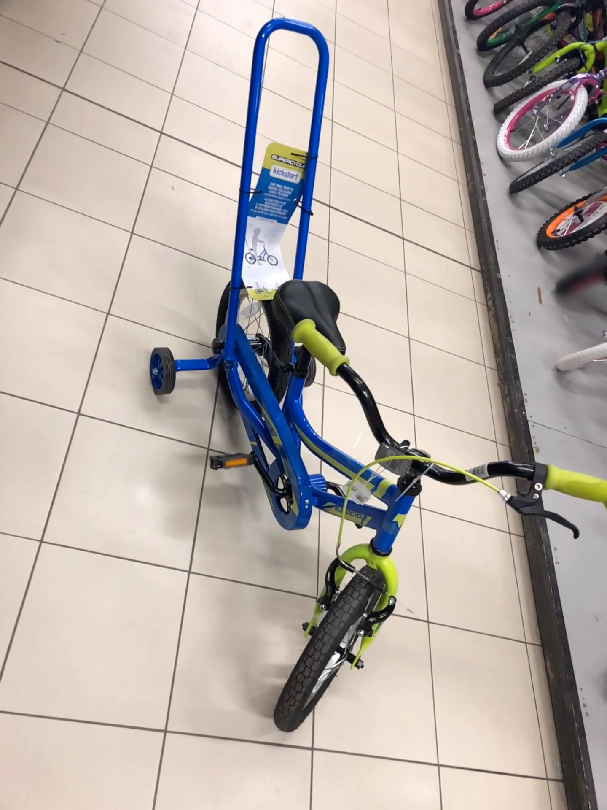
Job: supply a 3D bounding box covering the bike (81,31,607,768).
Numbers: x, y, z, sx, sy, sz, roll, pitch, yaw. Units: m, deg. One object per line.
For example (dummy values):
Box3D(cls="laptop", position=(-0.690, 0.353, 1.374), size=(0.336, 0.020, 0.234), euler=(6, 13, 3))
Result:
Box3D(cls="bike", position=(-0.024, 0.006, 1.192), size=(0.539, 0.763, 0.955), euler=(7, 54, -27))
